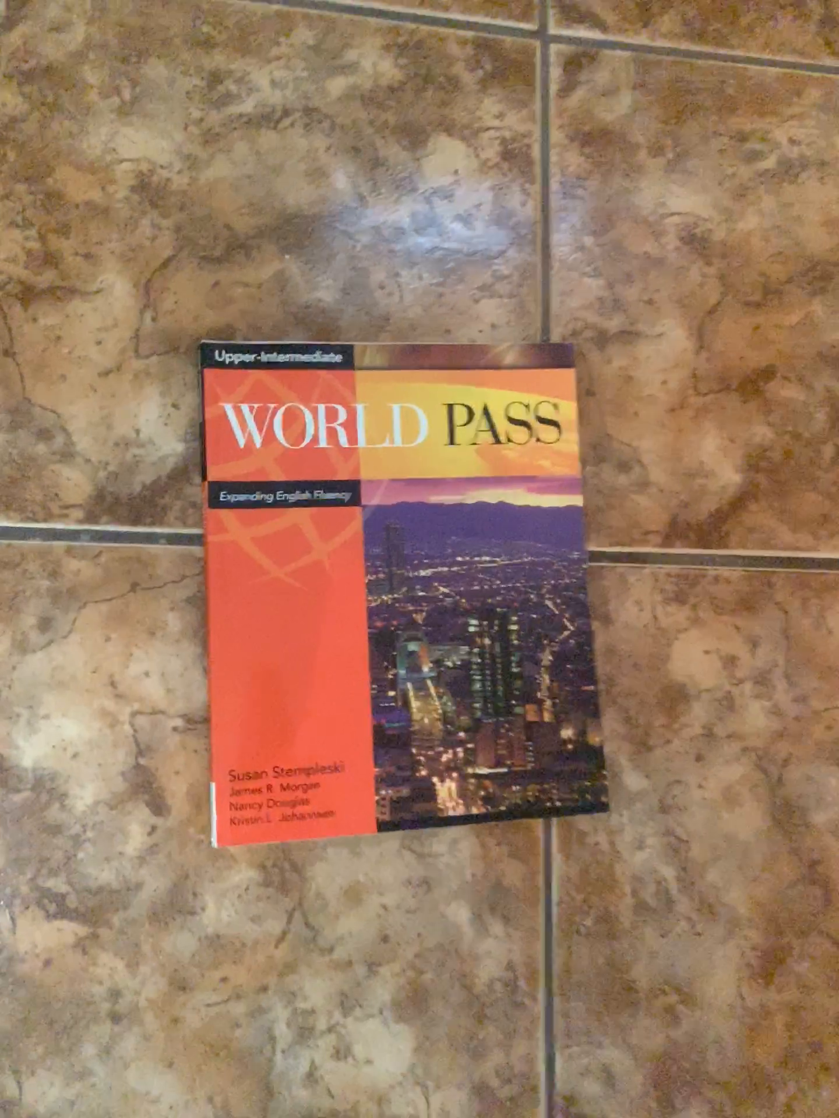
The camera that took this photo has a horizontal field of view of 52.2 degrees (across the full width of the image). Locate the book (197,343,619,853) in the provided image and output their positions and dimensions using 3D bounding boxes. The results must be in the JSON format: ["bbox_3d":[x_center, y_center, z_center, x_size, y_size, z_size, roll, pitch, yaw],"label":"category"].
[{"bbox_3d":[-0.008,0.012,0.479,0.219,0.016,0.271,-2,83,-9],"label":"book"}]
